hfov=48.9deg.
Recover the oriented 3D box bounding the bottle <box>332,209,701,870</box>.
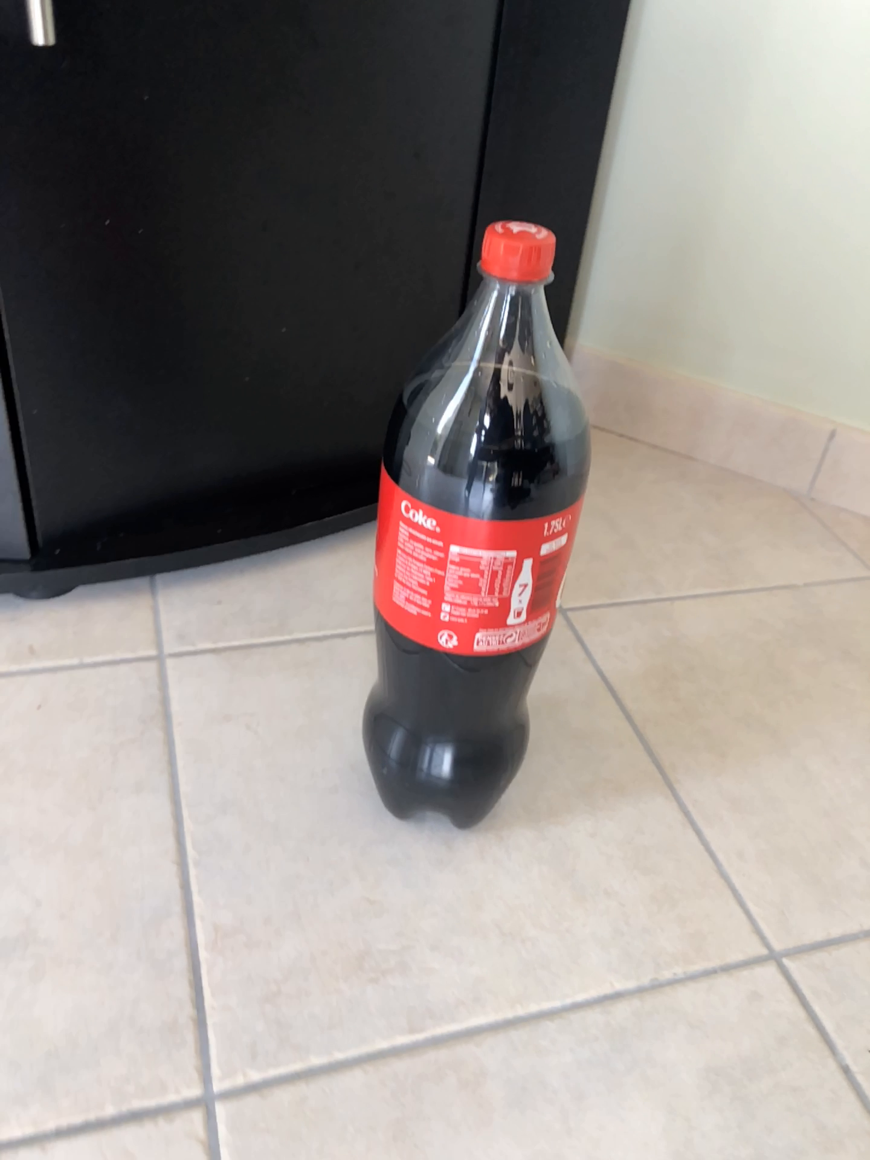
[{"bbox_3d":[0.018,-0.008,0.475,0.100,0.308,0.110,-8,39,-20],"label":"bottle"}]
